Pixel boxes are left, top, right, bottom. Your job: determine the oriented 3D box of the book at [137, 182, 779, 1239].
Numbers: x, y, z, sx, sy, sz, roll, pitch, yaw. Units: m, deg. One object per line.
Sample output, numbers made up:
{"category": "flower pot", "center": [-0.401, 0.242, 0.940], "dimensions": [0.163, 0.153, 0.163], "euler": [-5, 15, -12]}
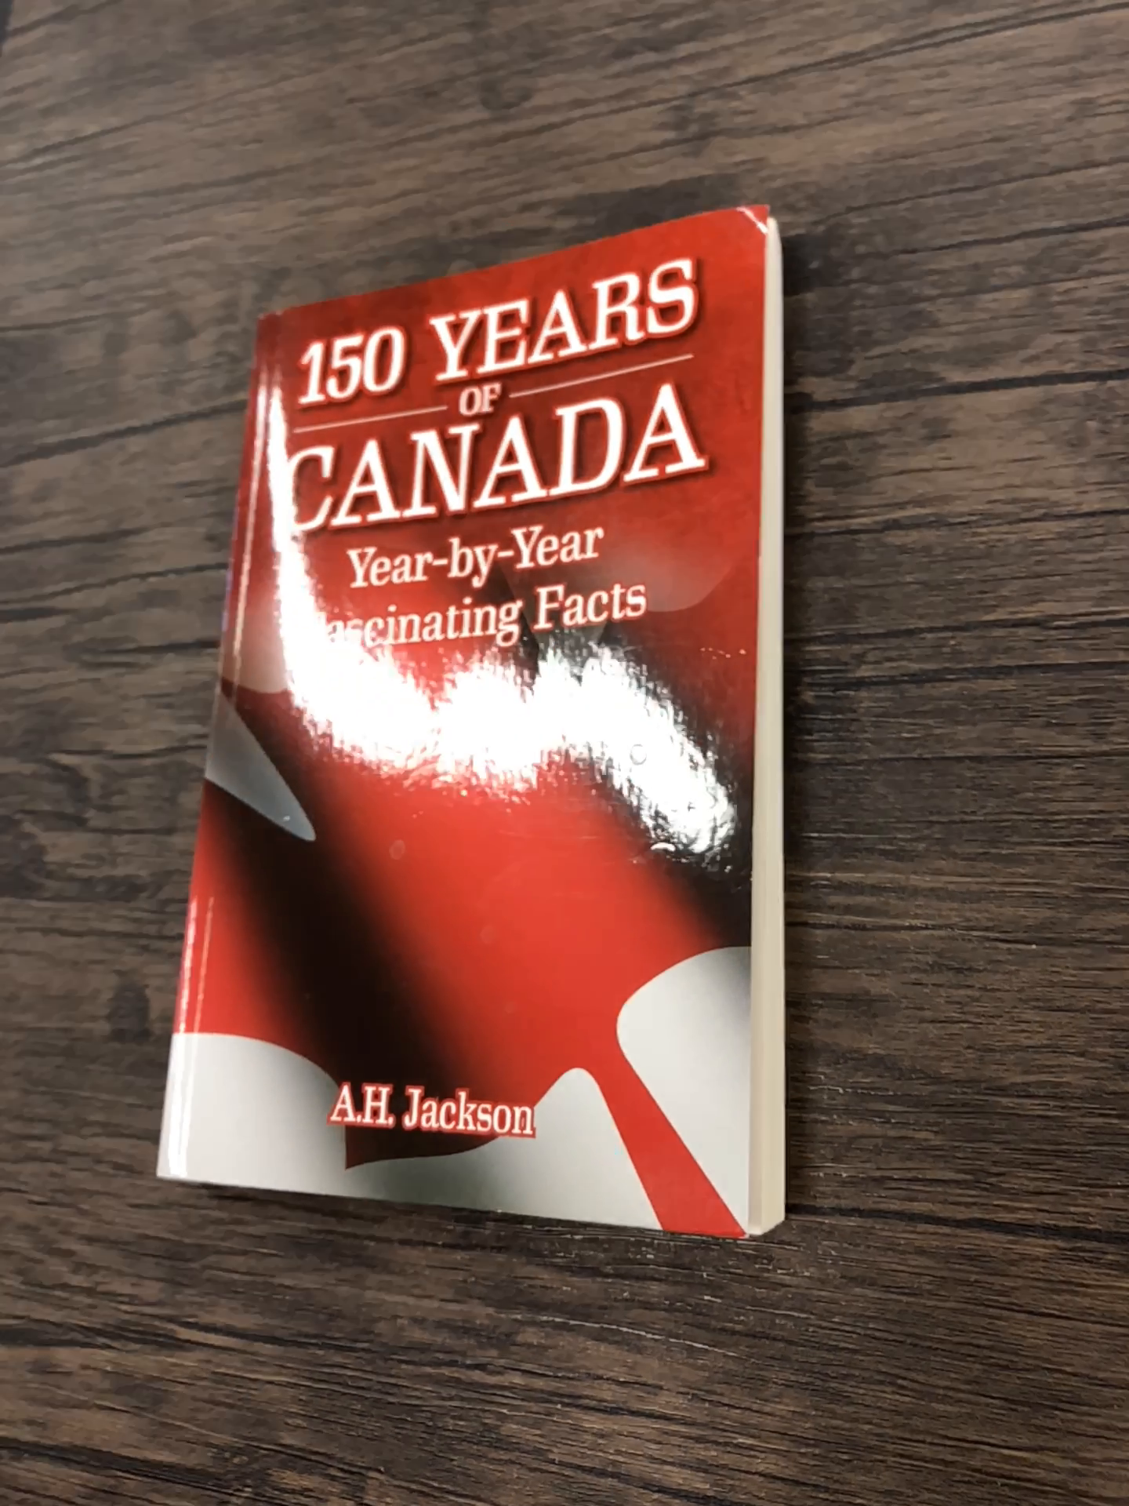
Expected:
{"category": "book", "center": [-0.021, -0.011, 0.275], "dimensions": [0.130, 0.025, 0.206], "euler": [-5, 73, 26]}
